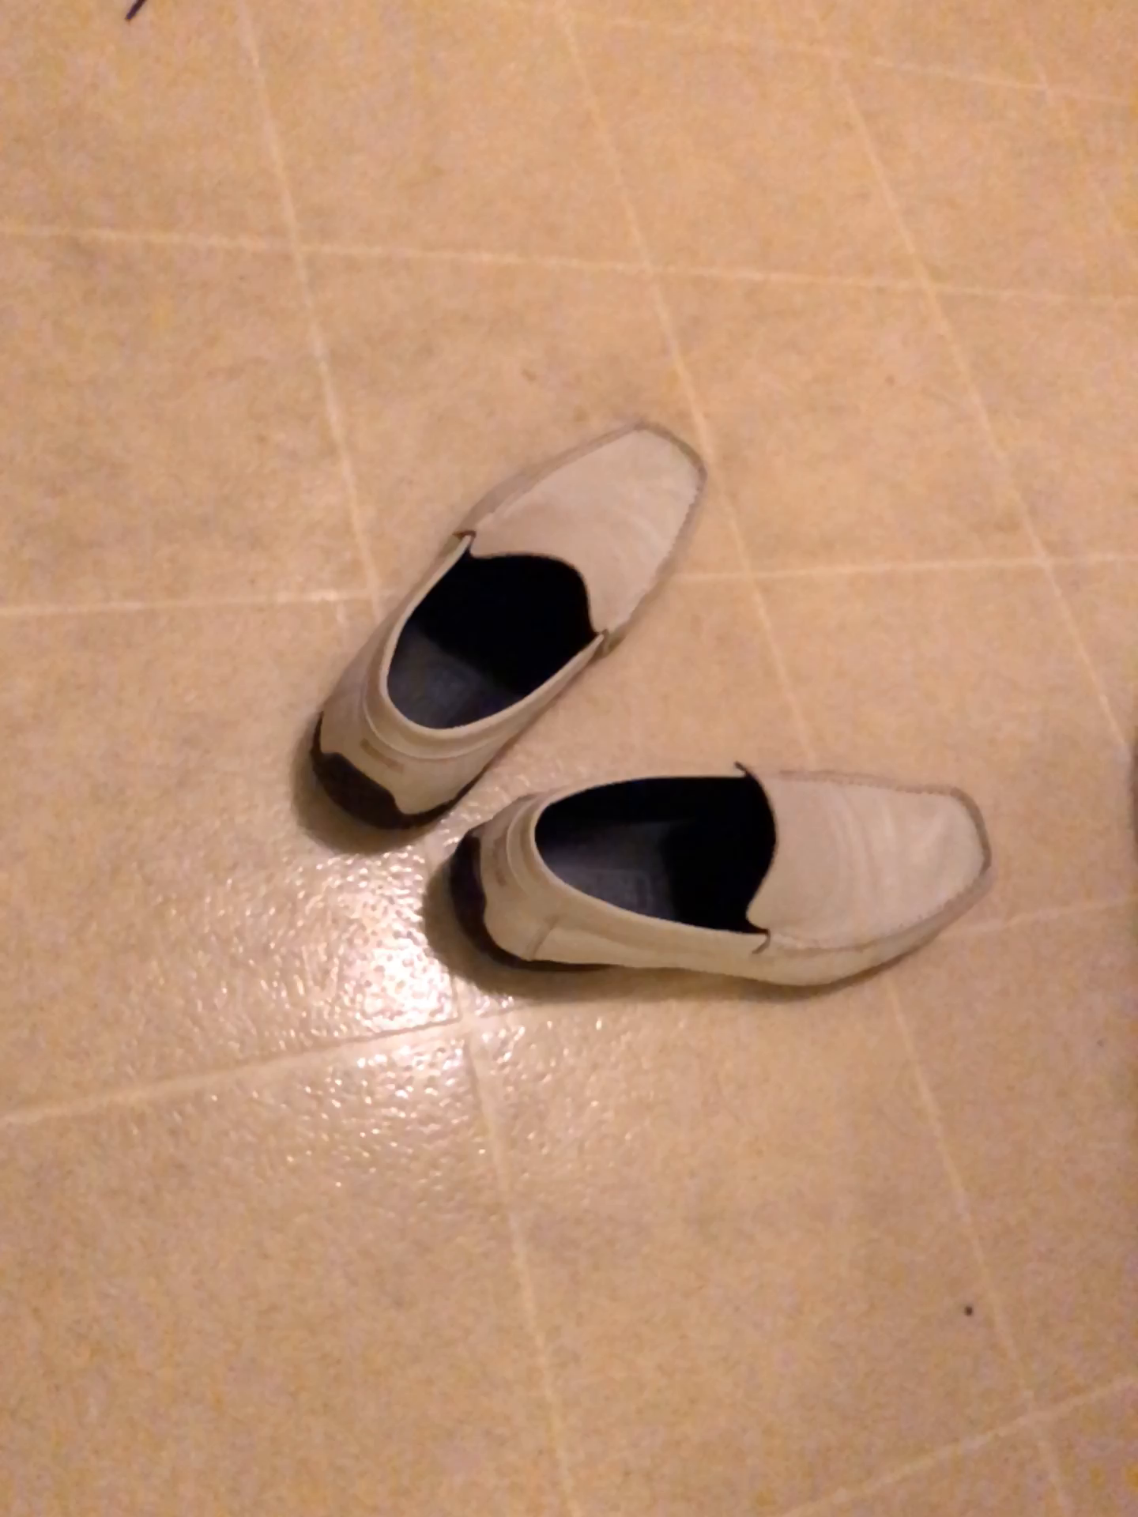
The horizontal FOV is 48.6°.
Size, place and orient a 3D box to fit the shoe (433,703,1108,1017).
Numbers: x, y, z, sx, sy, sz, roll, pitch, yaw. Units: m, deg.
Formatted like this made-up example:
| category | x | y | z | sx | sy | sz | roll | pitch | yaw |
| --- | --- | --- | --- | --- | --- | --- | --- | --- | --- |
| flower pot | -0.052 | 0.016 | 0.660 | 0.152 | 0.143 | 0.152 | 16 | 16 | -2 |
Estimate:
| category | x | y | z | sx | sy | sz | roll | pitch | yaw |
| --- | --- | --- | --- | --- | --- | --- | --- | --- | --- |
| shoe | 0.092 | 0.049 | 0.596 | 0.290 | 0.097 | 0.111 | 1 | 66 | -21 |

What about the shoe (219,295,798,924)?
| category | x | y | z | sx | sy | sz | roll | pitch | yaw |
| --- | --- | --- | --- | --- | --- | --- | --- | --- | --- |
| shoe | -0.021 | -0.082 | 0.614 | 0.110 | 0.097 | 0.308 | 38 | 59 | -1 |
